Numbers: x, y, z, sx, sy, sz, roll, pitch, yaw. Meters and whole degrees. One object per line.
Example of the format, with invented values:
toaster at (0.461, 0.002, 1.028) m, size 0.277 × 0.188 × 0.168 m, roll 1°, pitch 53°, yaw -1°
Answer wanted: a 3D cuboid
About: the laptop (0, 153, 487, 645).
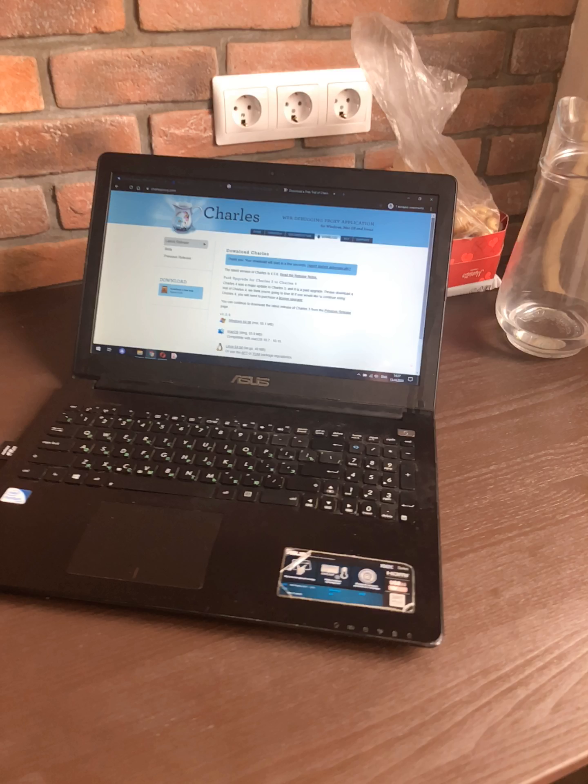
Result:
laptop at (-0.057, -0.042, 0.558) m, size 0.372 × 0.186 × 0.401 m, roll 6°, pitch 36°, yaw 7°
